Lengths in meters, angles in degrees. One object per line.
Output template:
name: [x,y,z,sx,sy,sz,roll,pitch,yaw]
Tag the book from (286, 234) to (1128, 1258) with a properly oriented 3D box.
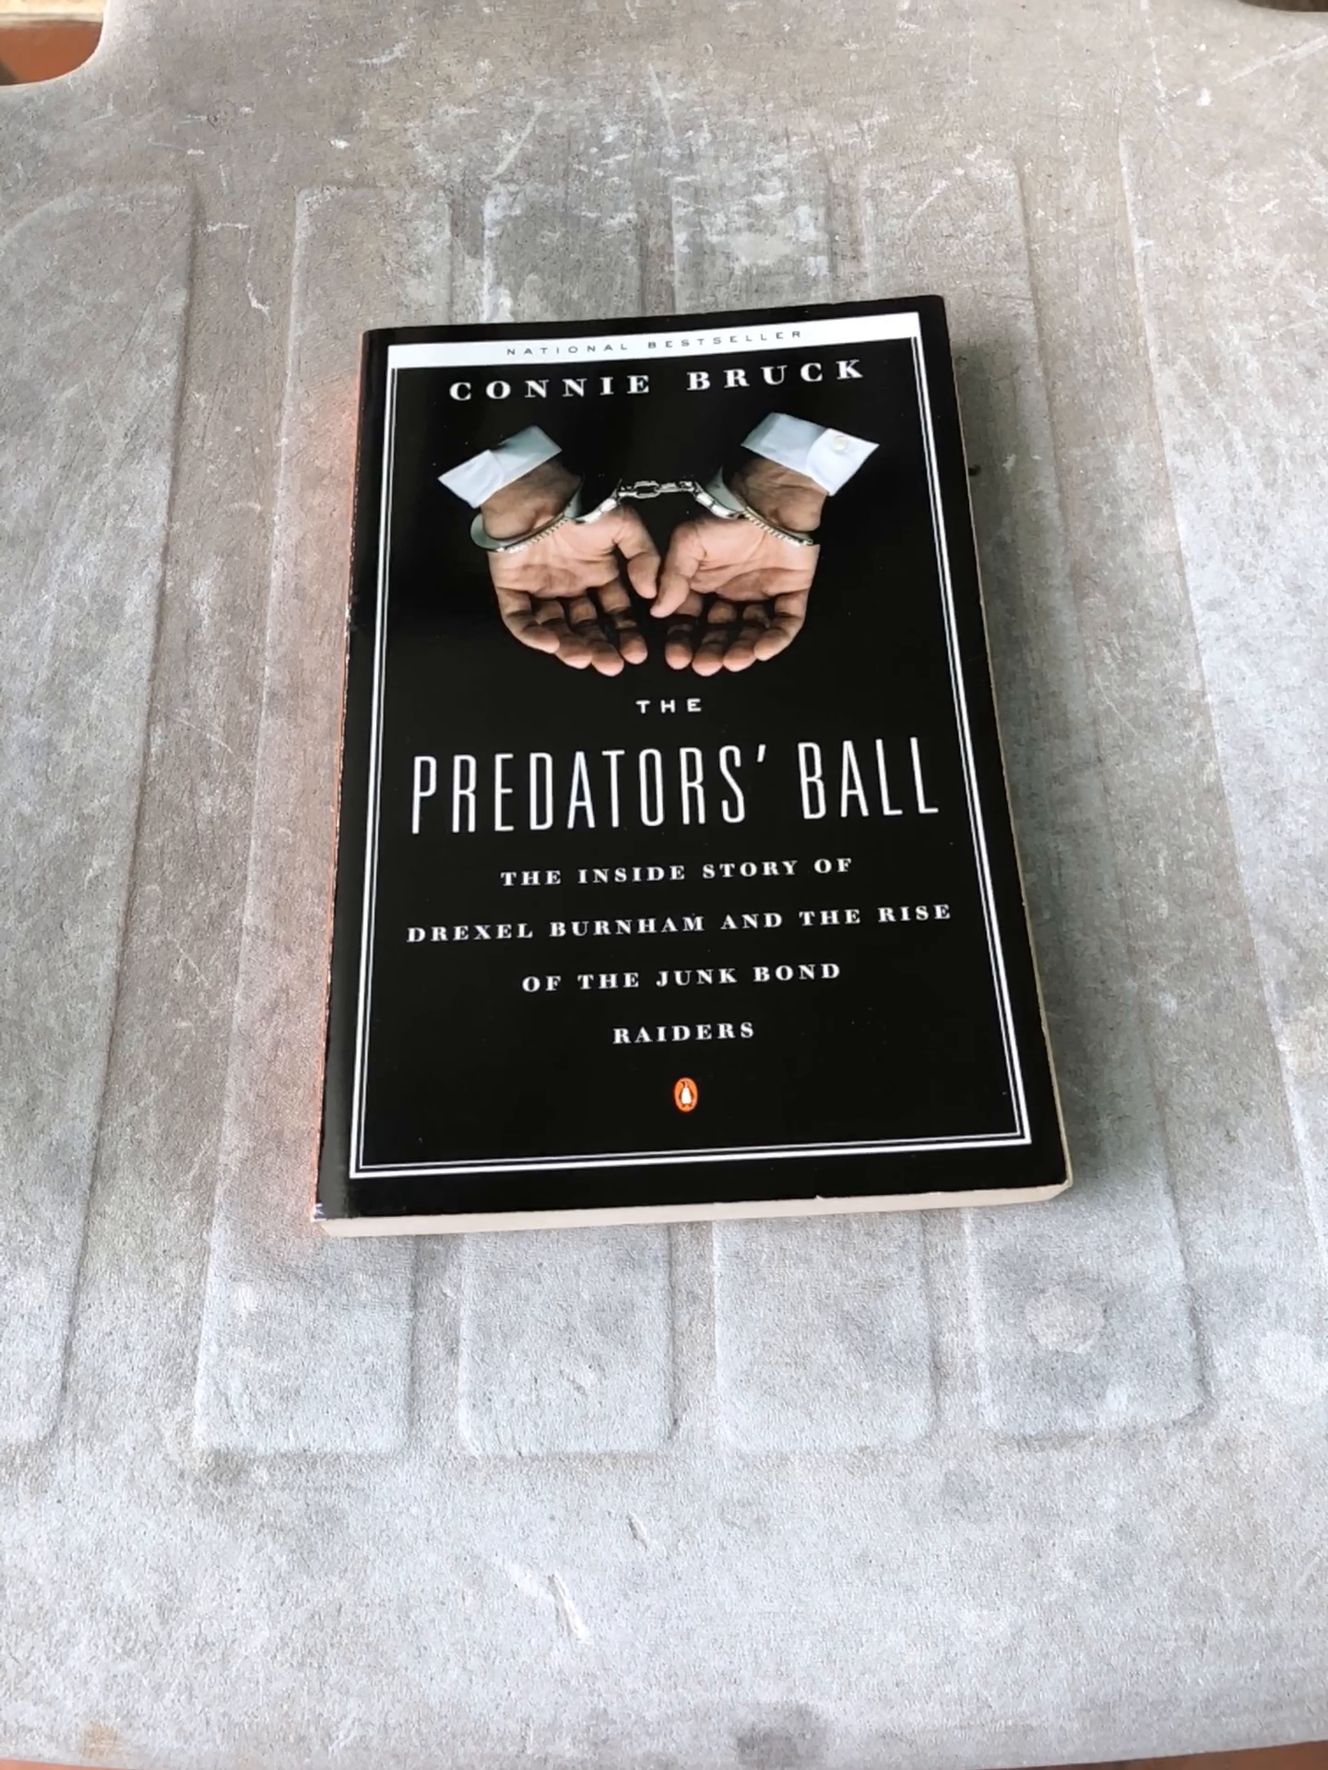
book: [0.004,-0.037,0.301,0.140,0.030,0.210,-3,67,2]
